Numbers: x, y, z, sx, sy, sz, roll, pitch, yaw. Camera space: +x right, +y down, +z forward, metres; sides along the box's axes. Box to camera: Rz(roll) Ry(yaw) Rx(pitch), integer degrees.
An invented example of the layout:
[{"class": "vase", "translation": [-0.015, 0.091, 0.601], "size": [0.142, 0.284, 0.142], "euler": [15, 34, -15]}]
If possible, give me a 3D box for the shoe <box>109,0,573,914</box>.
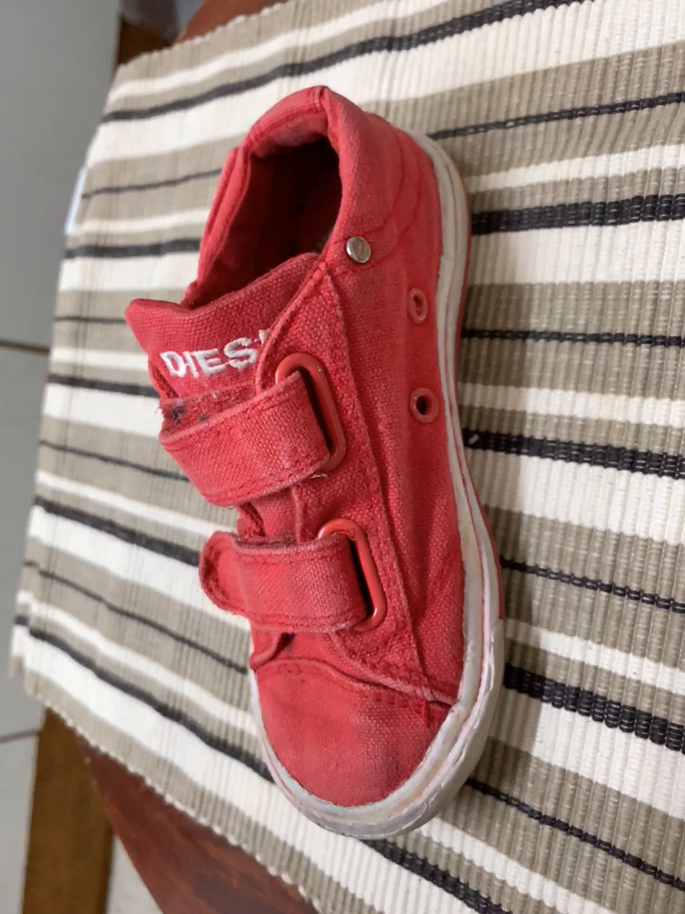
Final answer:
[{"class": "shoe", "translation": [0.001, -0.007, 0.173], "size": [0.080, 0.070, 0.170], "euler": [-4, 83, 40]}]
